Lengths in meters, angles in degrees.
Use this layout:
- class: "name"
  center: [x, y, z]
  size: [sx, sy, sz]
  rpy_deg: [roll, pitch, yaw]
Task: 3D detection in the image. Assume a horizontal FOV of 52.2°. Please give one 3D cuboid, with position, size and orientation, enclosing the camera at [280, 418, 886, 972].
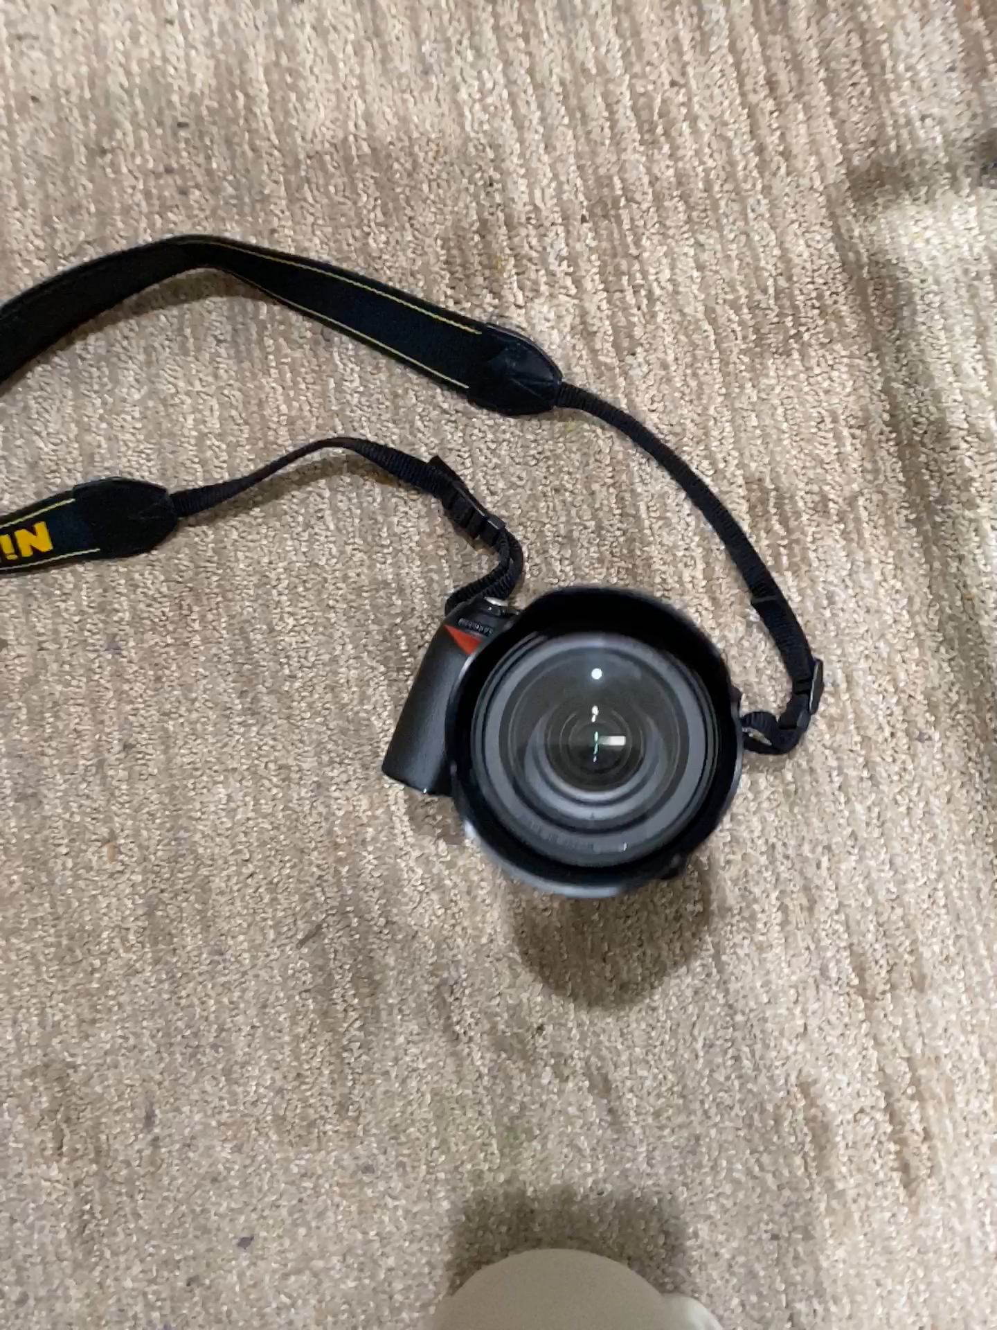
- class: "camera"
  center: [0.029, 0.016, 0.367]
  size: [0.138, 0.166, 0.114]
  rpy_deg: [21, 84, 6]
